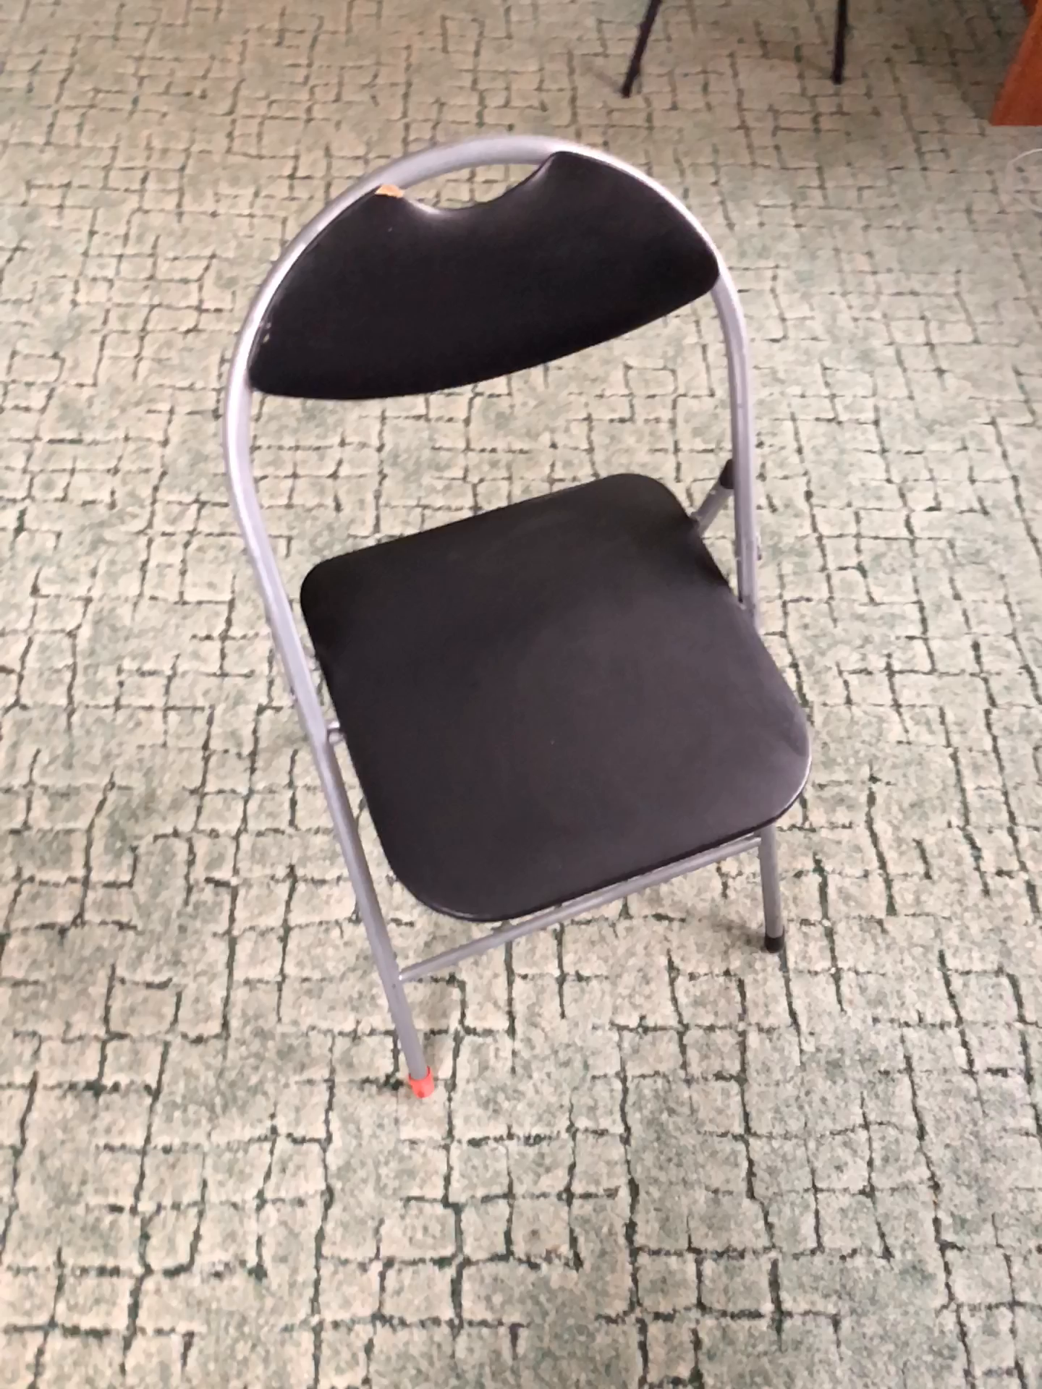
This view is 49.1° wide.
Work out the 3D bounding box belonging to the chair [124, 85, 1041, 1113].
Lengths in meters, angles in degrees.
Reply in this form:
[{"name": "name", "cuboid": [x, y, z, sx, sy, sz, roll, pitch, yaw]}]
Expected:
[{"name": "chair", "cuboid": [0.018, -0.018, 1.023, 0.456, 0.733, 0.477, -18, 61, -13]}]
